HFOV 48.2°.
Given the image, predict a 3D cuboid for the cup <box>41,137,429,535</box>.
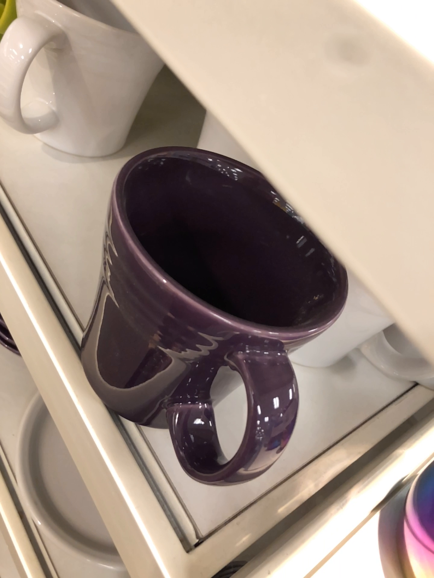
[{"bbox_3d":[-0.004,0.014,0.220,0.090,0.099,0.127,-17,62,-38],"label":"cup"}]
